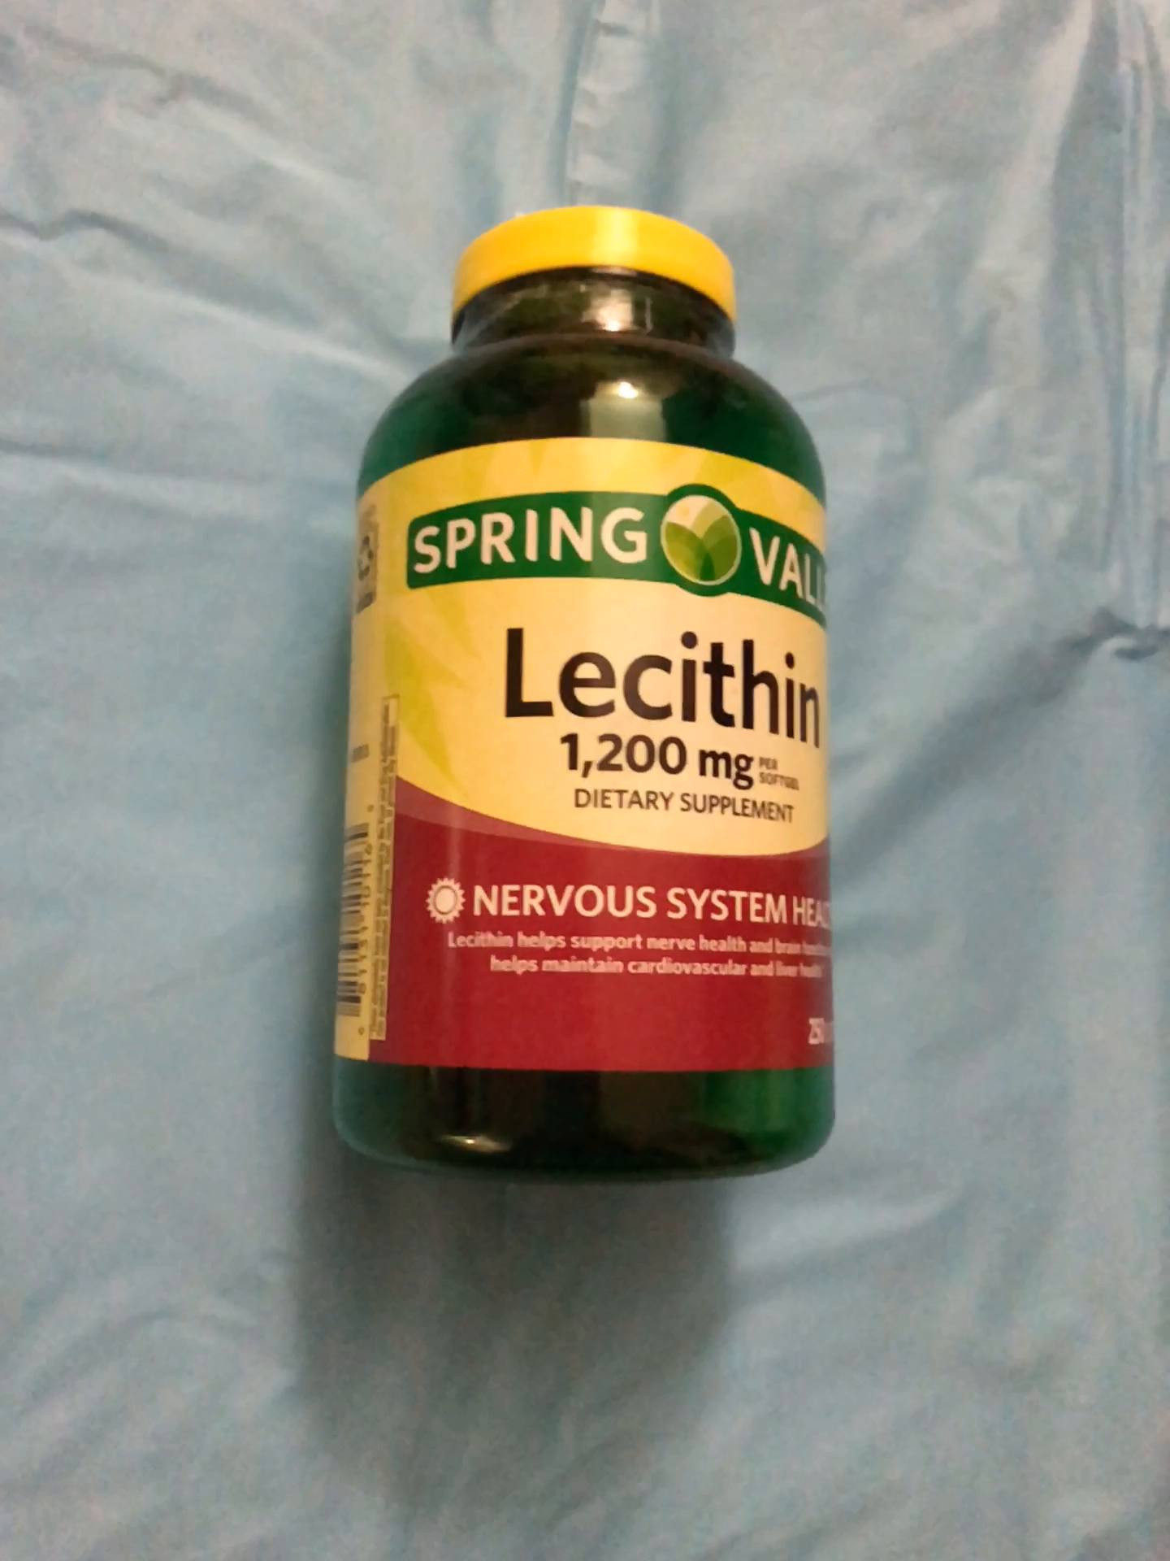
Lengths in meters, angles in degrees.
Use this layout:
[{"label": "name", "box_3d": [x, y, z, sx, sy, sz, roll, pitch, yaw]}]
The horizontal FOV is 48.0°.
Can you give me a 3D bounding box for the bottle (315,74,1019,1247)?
[{"label": "bottle", "box_3d": [0.008, -0.013, 0.242, 0.100, 0.090, 0.170, 4, 82, -14]}]
